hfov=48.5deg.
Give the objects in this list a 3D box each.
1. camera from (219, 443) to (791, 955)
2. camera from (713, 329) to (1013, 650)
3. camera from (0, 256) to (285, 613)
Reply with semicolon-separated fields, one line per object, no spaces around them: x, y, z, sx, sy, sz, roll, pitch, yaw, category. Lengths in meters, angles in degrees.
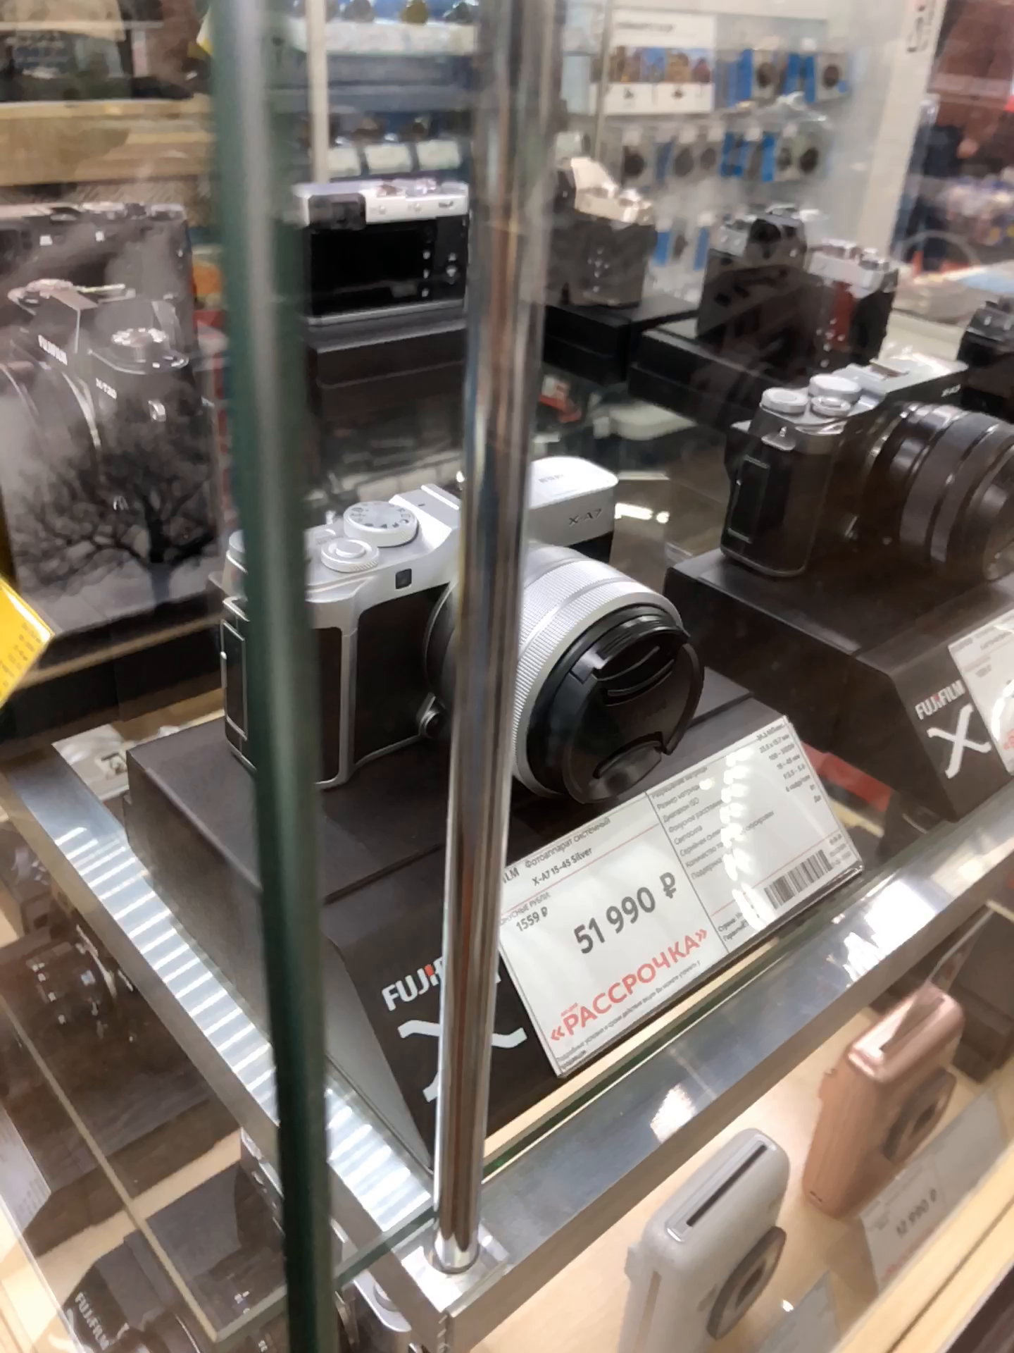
-0.001;-0.003;0.316;0.126;0.080;0.084;-21;40;-35;camera
0.164;-0.082;0.457;0.115;0.080;0.096;-22;40;-36;camera
-0.154;-0.094;0.406;0.097;0.080;0.115;-23;41;-37;camera
